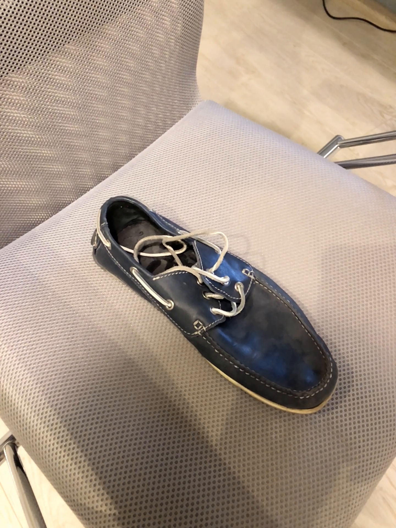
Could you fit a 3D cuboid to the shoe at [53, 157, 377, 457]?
[{"bbox_3d":[0.005,0.034,0.440,0.290,0.100,0.120,39,67,19],"label":"shoe"}]
